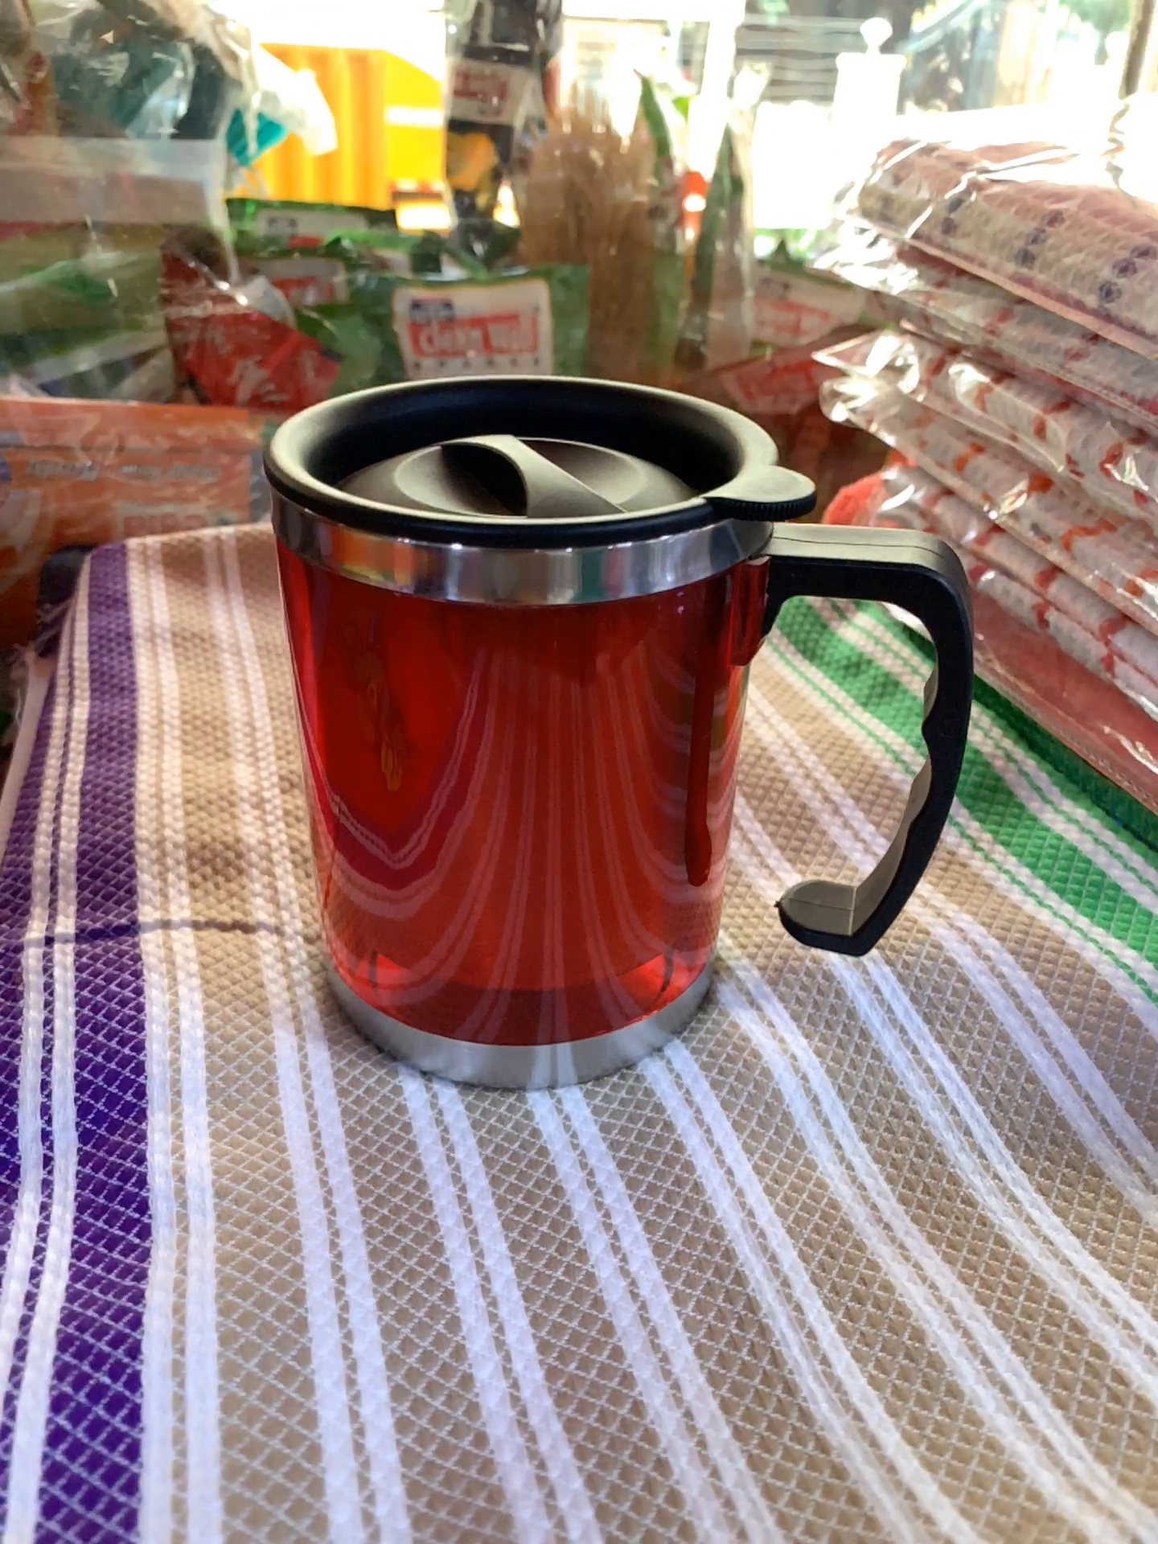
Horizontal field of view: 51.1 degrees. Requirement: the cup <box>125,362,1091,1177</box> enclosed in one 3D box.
[{"bbox_3d":[0.008,-0.010,0.227,0.129,0.102,0.100,7,30,9],"label":"cup"}]
